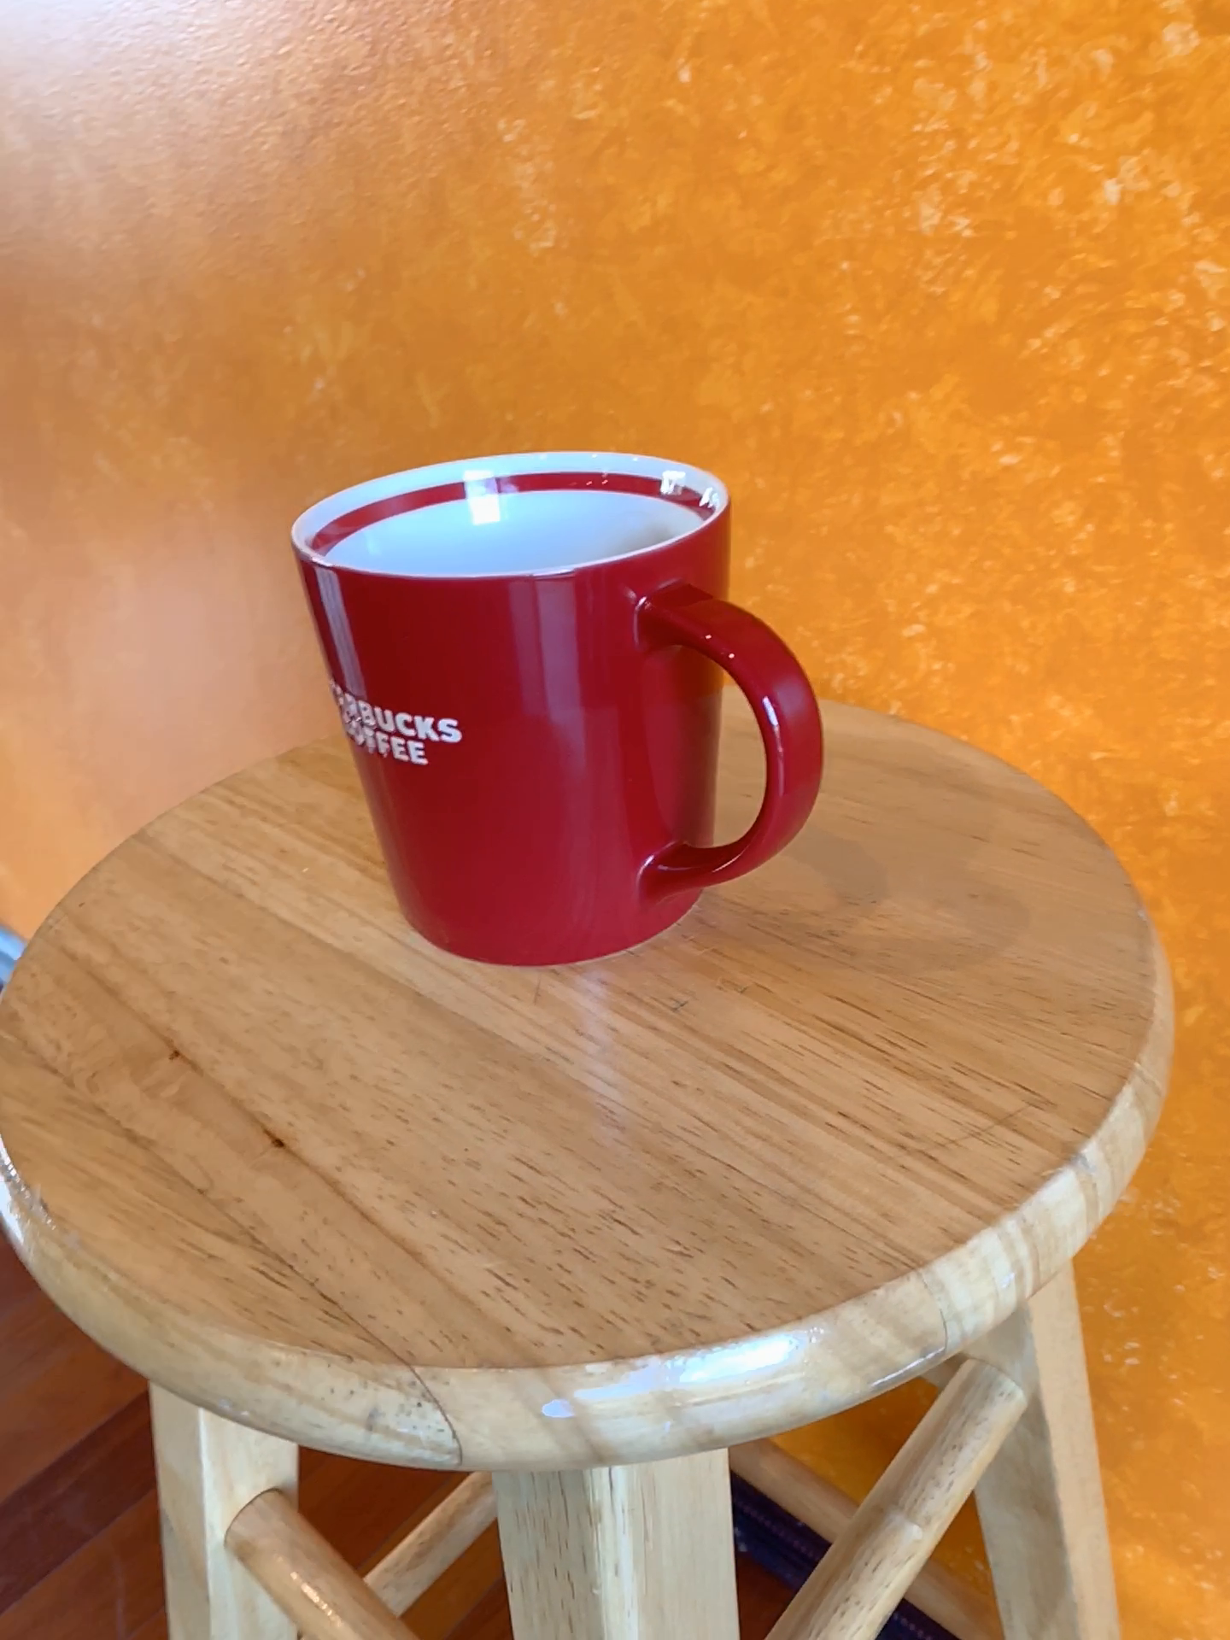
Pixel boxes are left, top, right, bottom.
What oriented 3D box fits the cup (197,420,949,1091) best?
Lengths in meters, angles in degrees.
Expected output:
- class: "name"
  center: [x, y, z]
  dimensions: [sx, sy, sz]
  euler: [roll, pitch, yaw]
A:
- class: "cup"
  center: [-0.010, -0.029, 0.309]
  dimensions: [0.140, 0.099, 0.100]
  euler: [23, 39, 40]
